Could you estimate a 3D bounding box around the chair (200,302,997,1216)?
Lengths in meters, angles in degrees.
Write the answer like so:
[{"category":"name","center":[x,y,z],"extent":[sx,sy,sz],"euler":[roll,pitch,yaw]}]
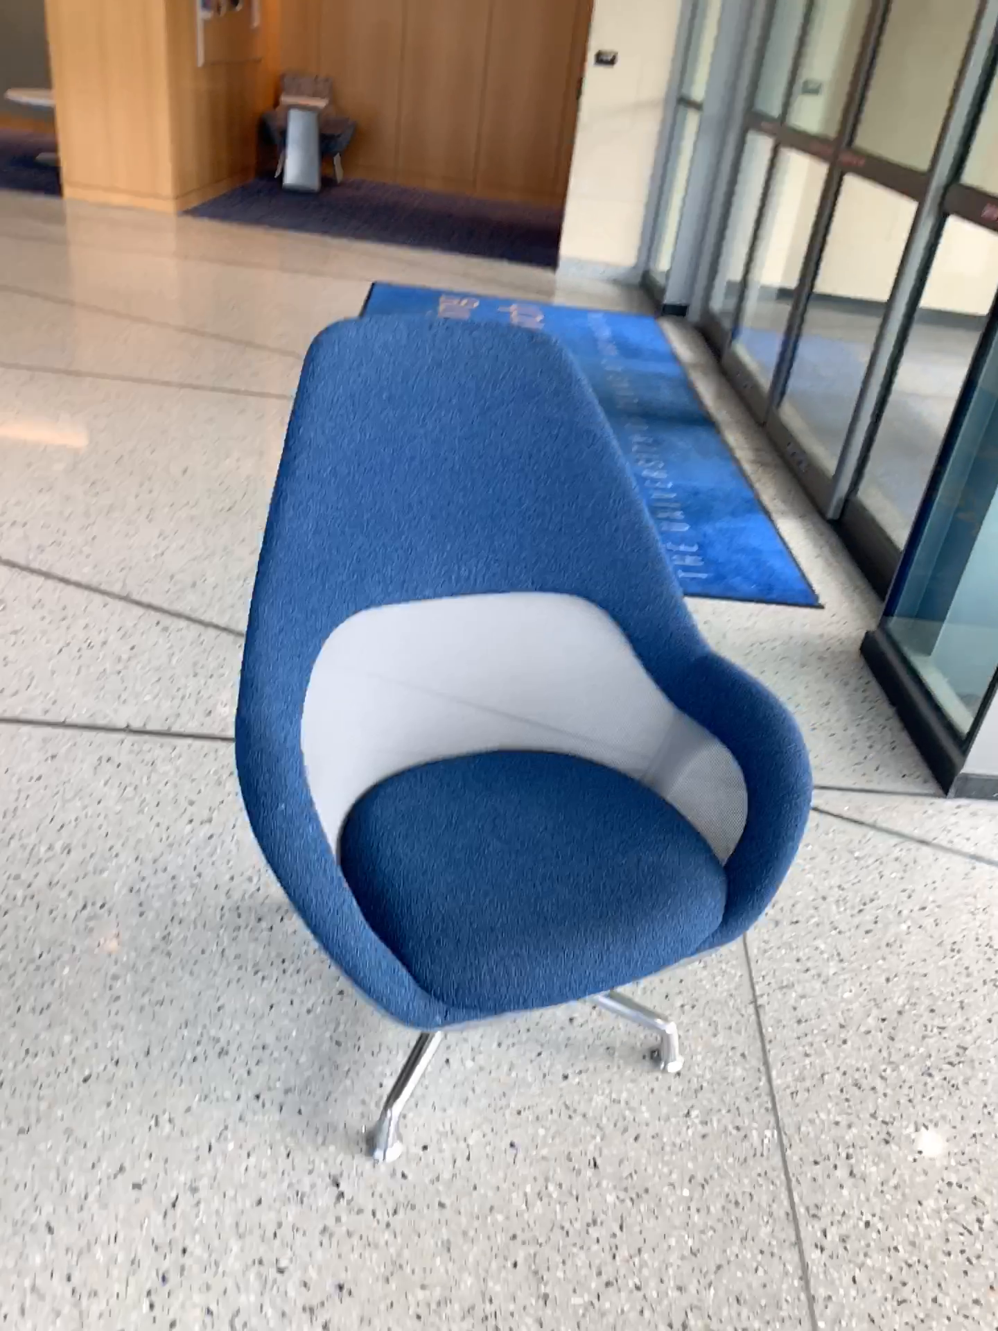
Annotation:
[{"category":"chair","center":[0.012,0.056,1.502],"extent":[0.725,0.933,0.790],"euler":[-7,34,-23]}]
